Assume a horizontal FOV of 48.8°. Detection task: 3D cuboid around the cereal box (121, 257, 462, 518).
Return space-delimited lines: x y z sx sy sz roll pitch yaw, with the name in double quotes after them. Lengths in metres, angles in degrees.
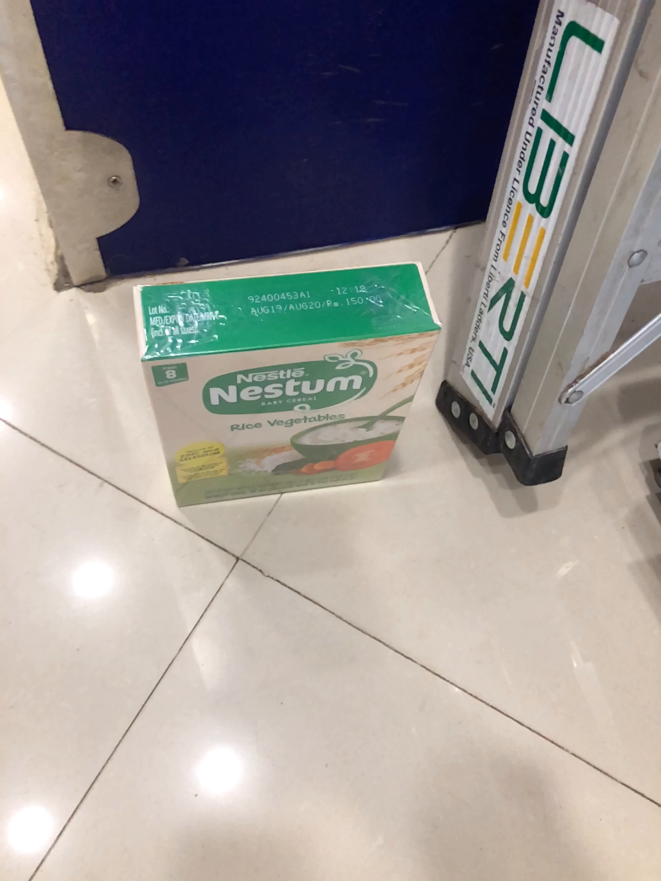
-0.028 -0.021 0.439 0.160 0.189 0.050 -8 65 -10 "cereal box"
